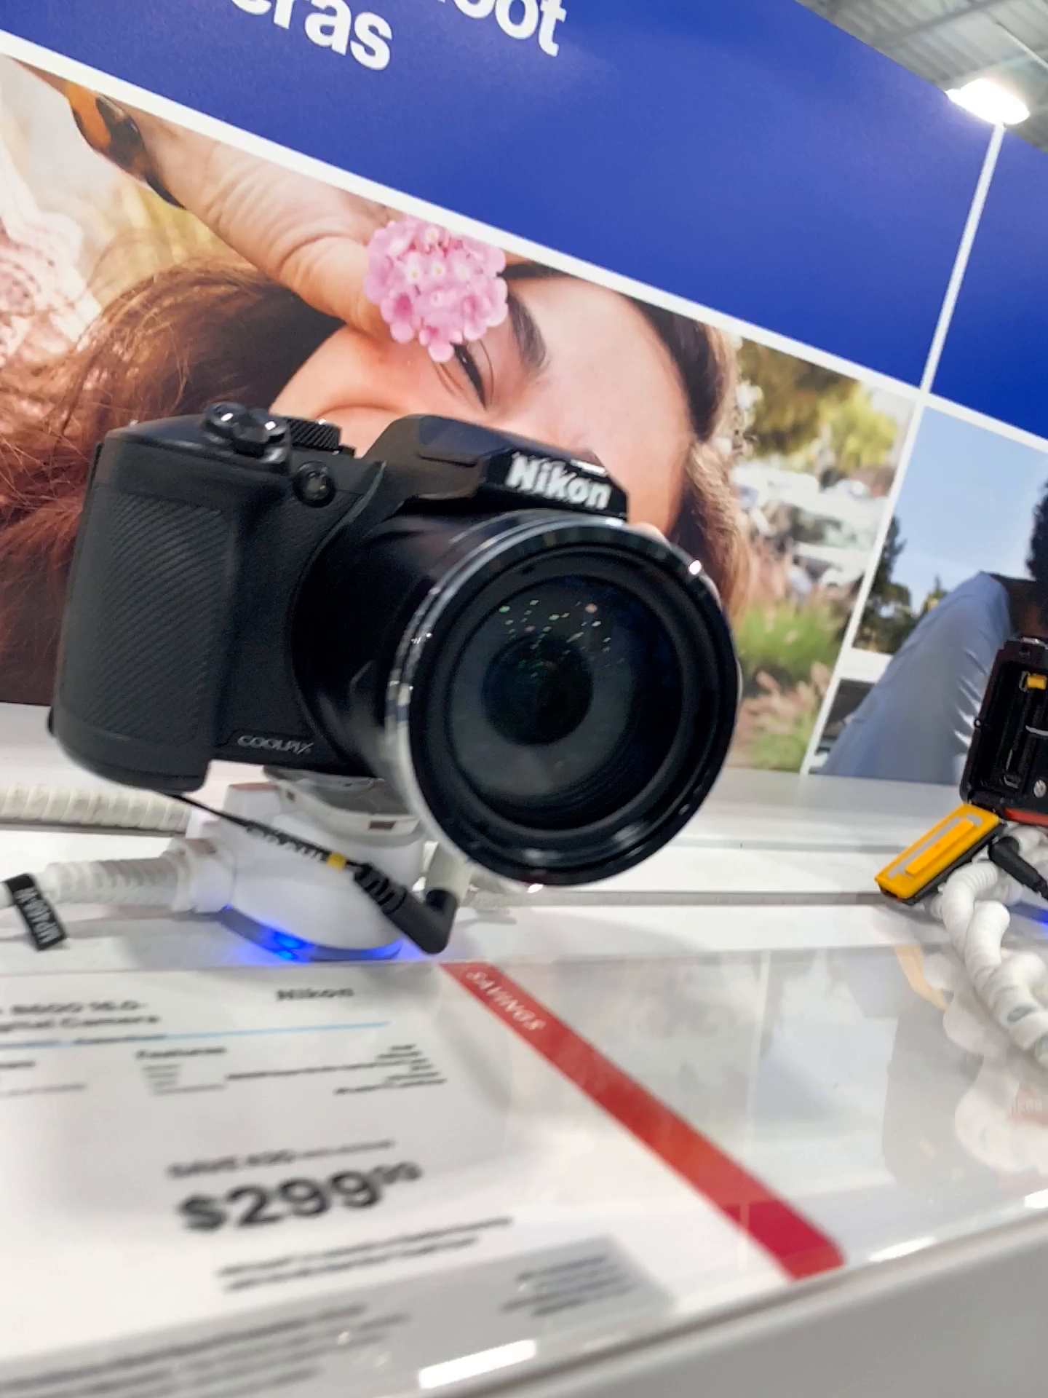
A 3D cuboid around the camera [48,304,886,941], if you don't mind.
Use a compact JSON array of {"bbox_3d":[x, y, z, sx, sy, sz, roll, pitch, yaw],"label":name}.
[{"bbox_3d":[-0.019,-0.012,0.212,0.120,0.080,0.100,9,6,-28],"label":"camera"}]
